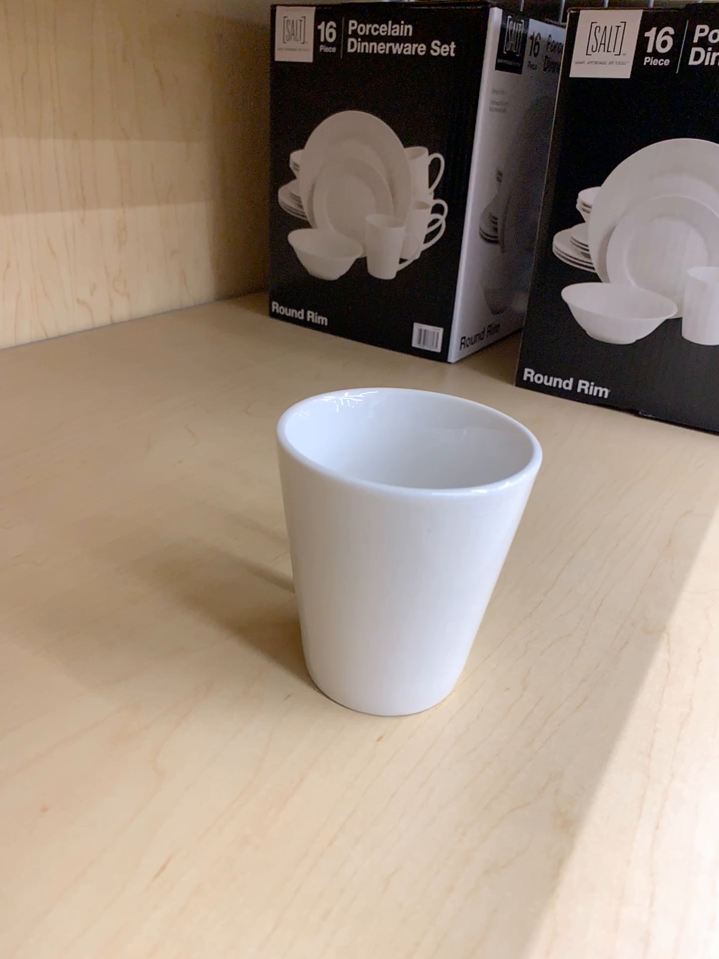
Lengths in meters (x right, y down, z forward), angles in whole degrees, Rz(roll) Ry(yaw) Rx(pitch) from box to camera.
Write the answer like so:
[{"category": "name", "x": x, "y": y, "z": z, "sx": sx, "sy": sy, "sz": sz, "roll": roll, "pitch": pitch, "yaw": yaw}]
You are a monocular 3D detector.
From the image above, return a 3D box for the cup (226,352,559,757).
[{"category": "cup", "x": 0.014, "y": 0.018, "z": 0.292, "sx": 0.093, "sy": 0.090, "sz": 0.129, "roll": 10, "pitch": 26, "yaw": 4}]
